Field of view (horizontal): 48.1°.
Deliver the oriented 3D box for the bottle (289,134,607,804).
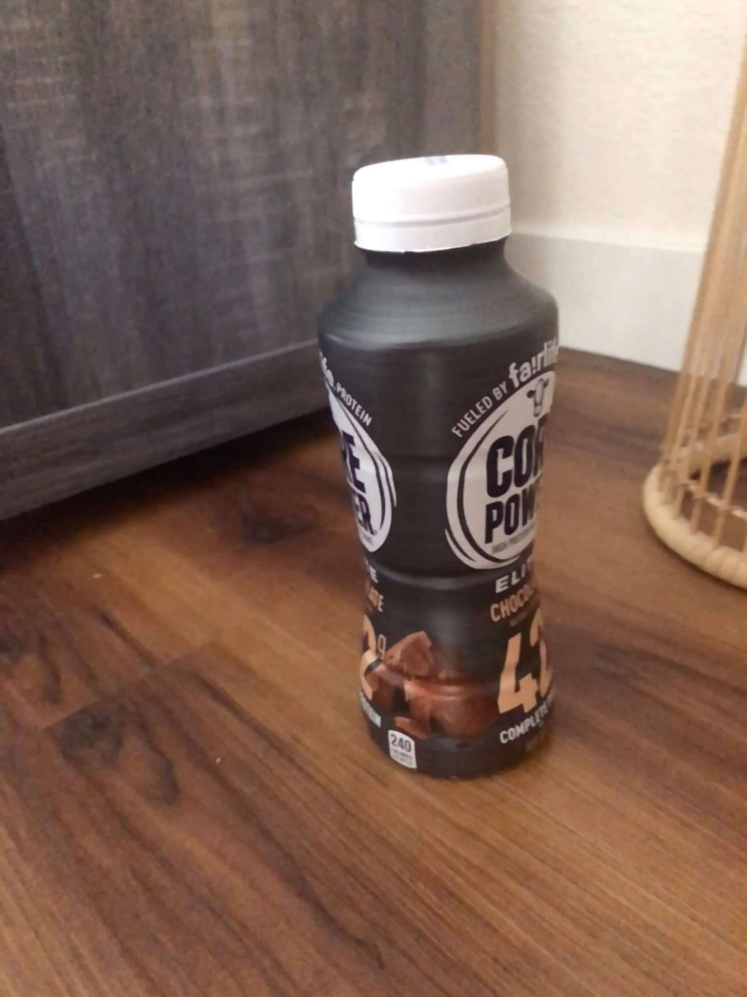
[{"bbox_3d":[0.022,-0.006,0.255,0.070,0.184,0.070,-4,26,2],"label":"bottle"}]
